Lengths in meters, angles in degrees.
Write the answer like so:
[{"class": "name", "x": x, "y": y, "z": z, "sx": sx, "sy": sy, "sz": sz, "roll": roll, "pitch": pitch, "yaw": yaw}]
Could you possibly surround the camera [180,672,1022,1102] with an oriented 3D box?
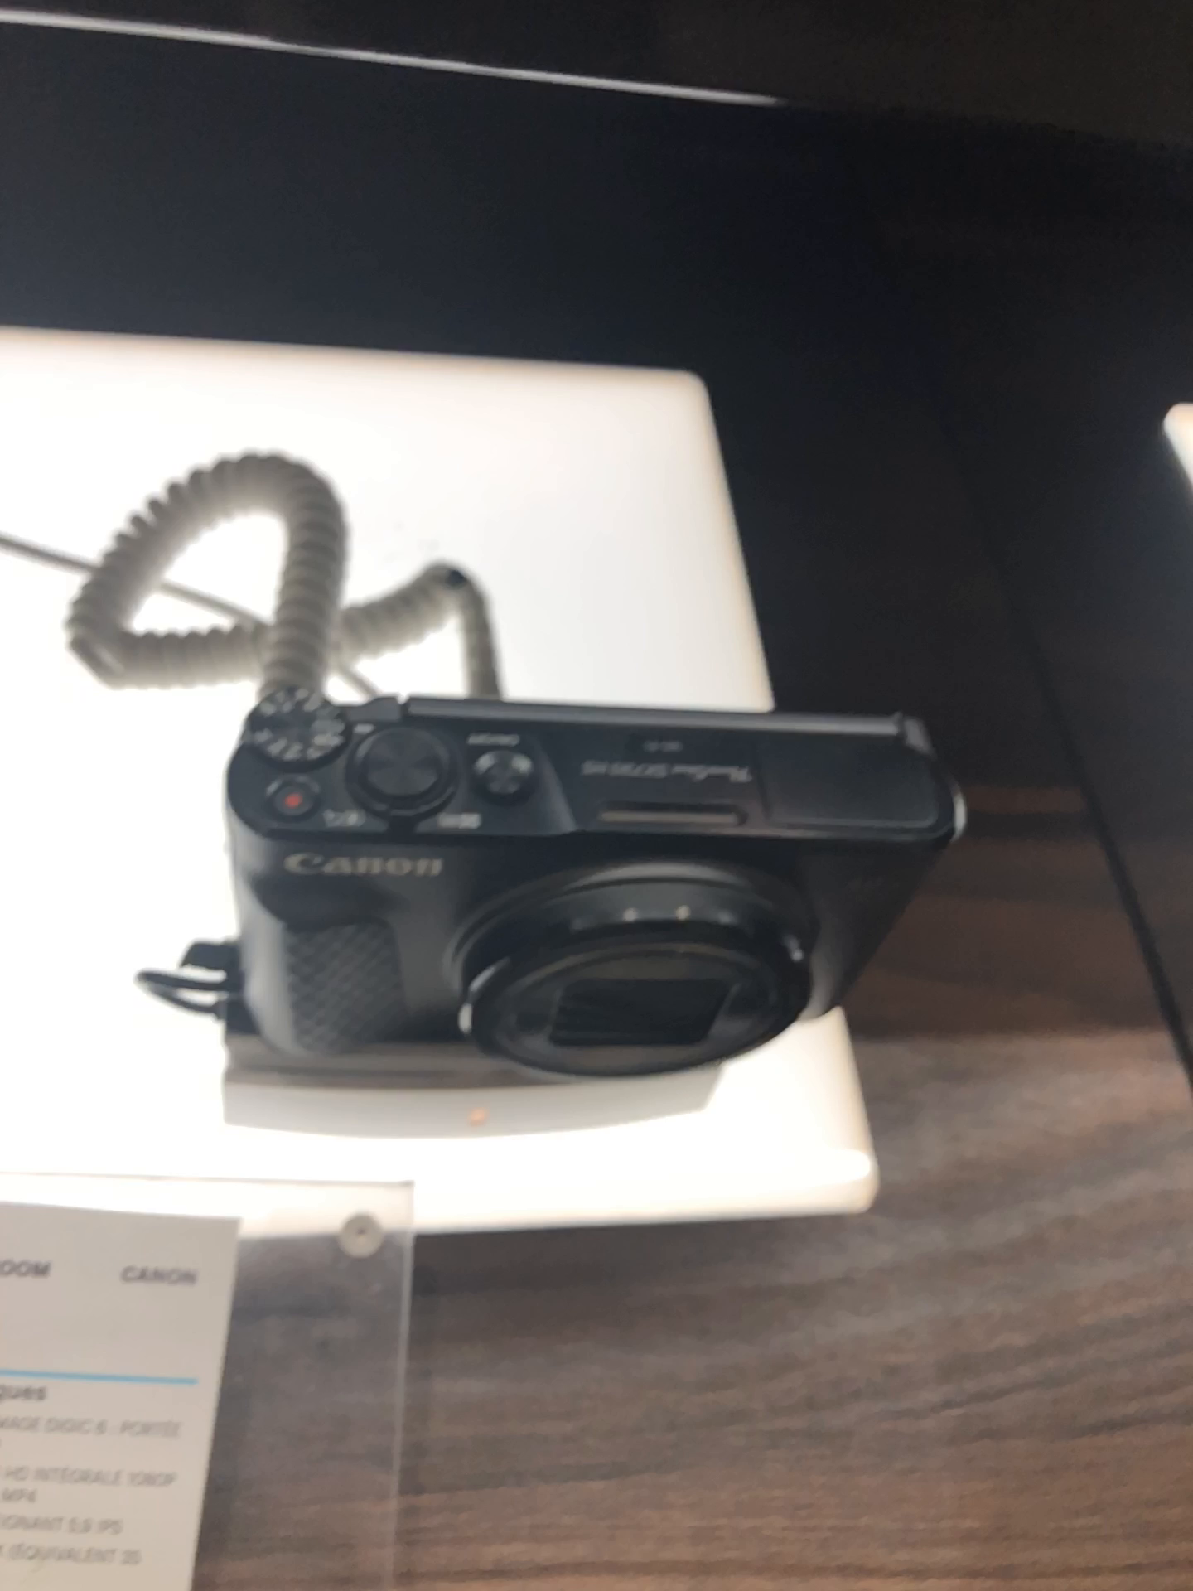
[{"class": "camera", "x": -0.003, "y": 0.018, "z": 0.218, "sx": 0.114, "sy": 0.070, "sz": 0.034, "roll": 1, "pitch": 54, "yaw": -10}]
